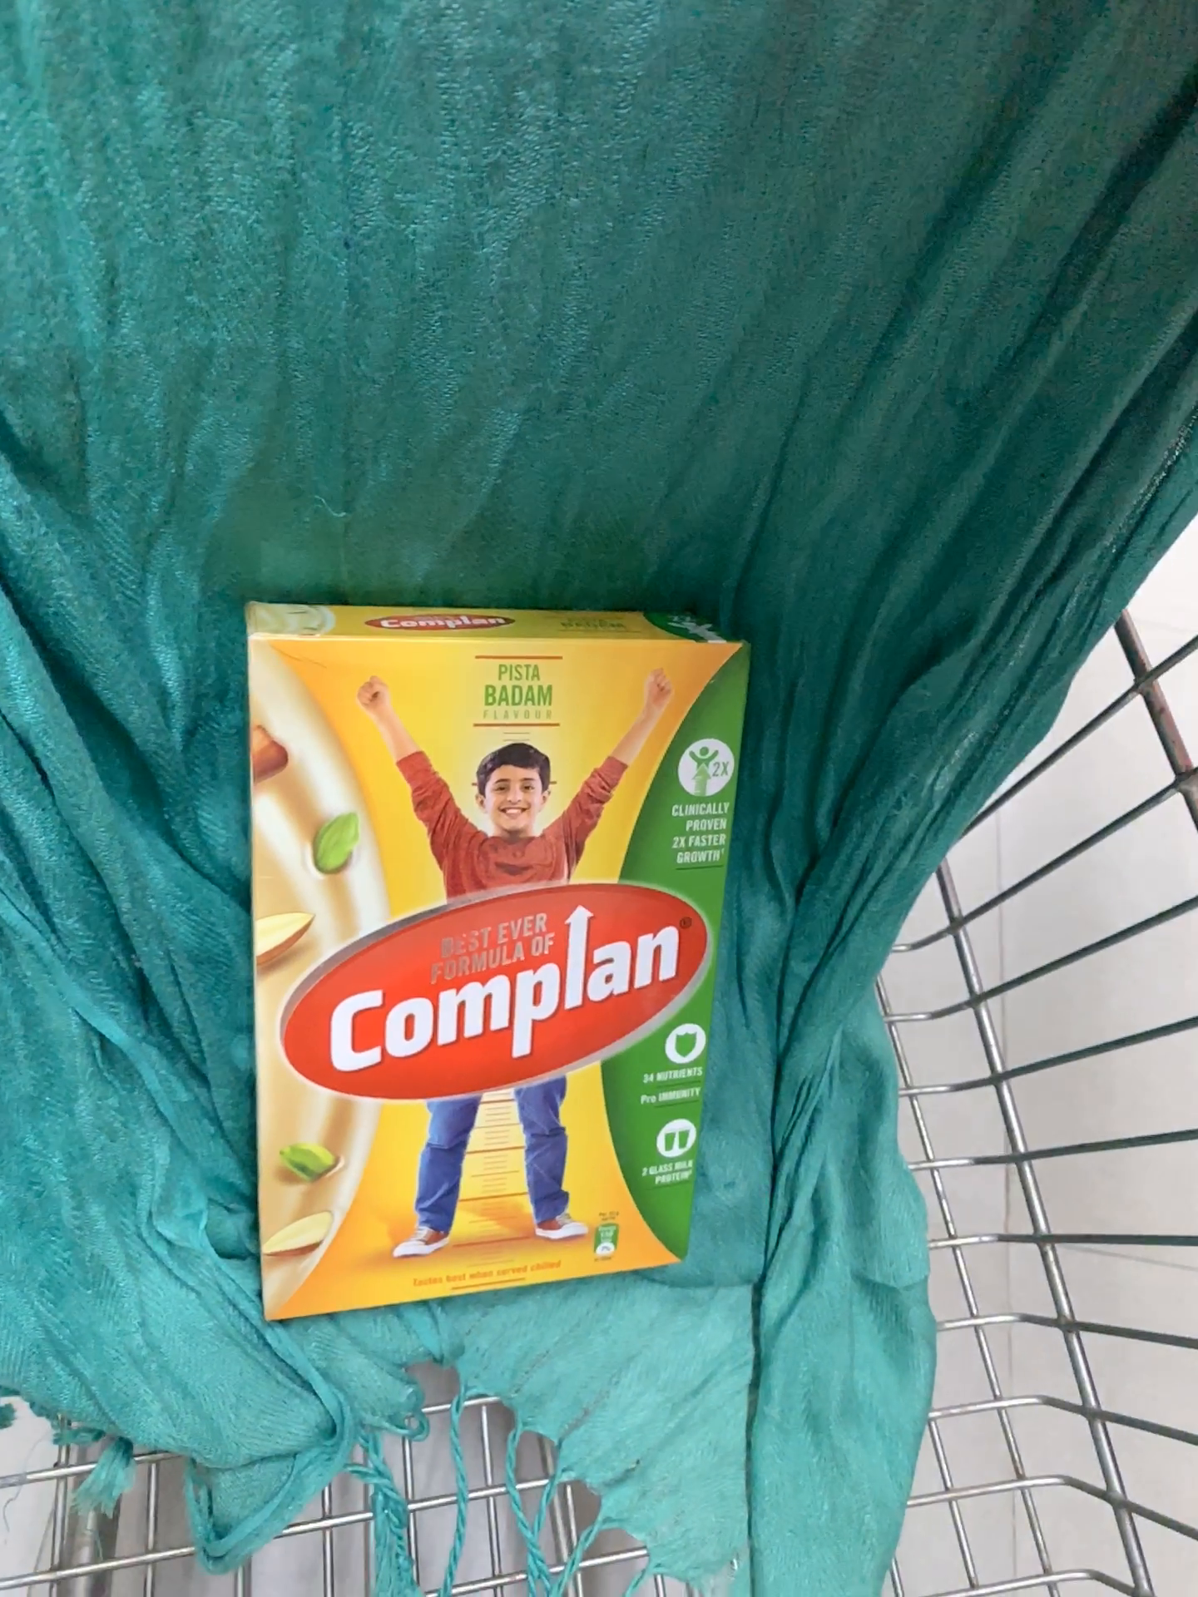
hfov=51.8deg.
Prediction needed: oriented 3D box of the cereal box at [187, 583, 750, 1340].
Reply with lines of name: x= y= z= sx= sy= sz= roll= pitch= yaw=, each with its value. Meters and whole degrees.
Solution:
cereal box: x=-0.039 y=0.042 z=0.360 sx=0.140 sy=0.060 sz=0.200 roll=-3 pitch=107 yaw=-16
